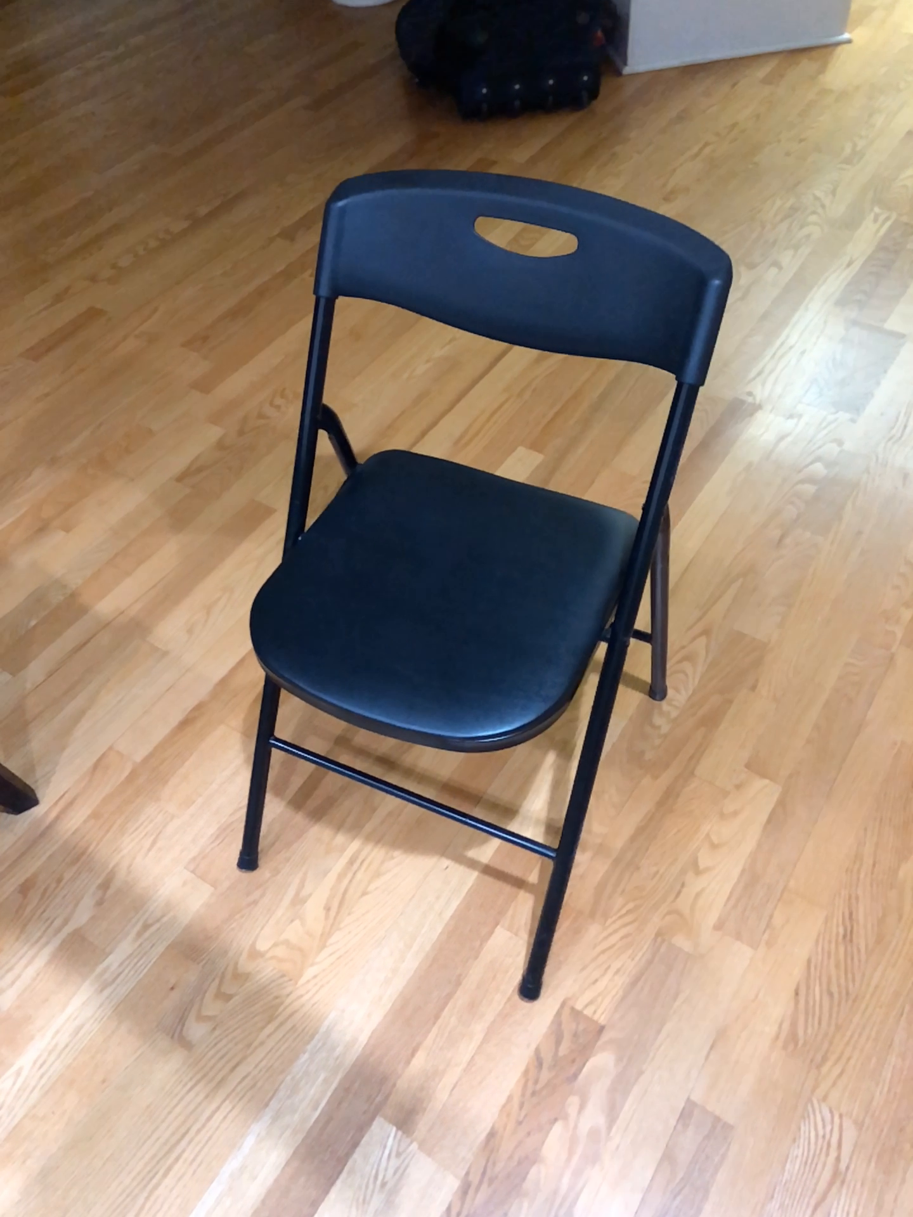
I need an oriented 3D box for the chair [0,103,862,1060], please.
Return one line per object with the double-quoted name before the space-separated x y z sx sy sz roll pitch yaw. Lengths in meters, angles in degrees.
"chair" -0.003 -0.052 1.128 0.611 0.657 0.683 17 53 18
